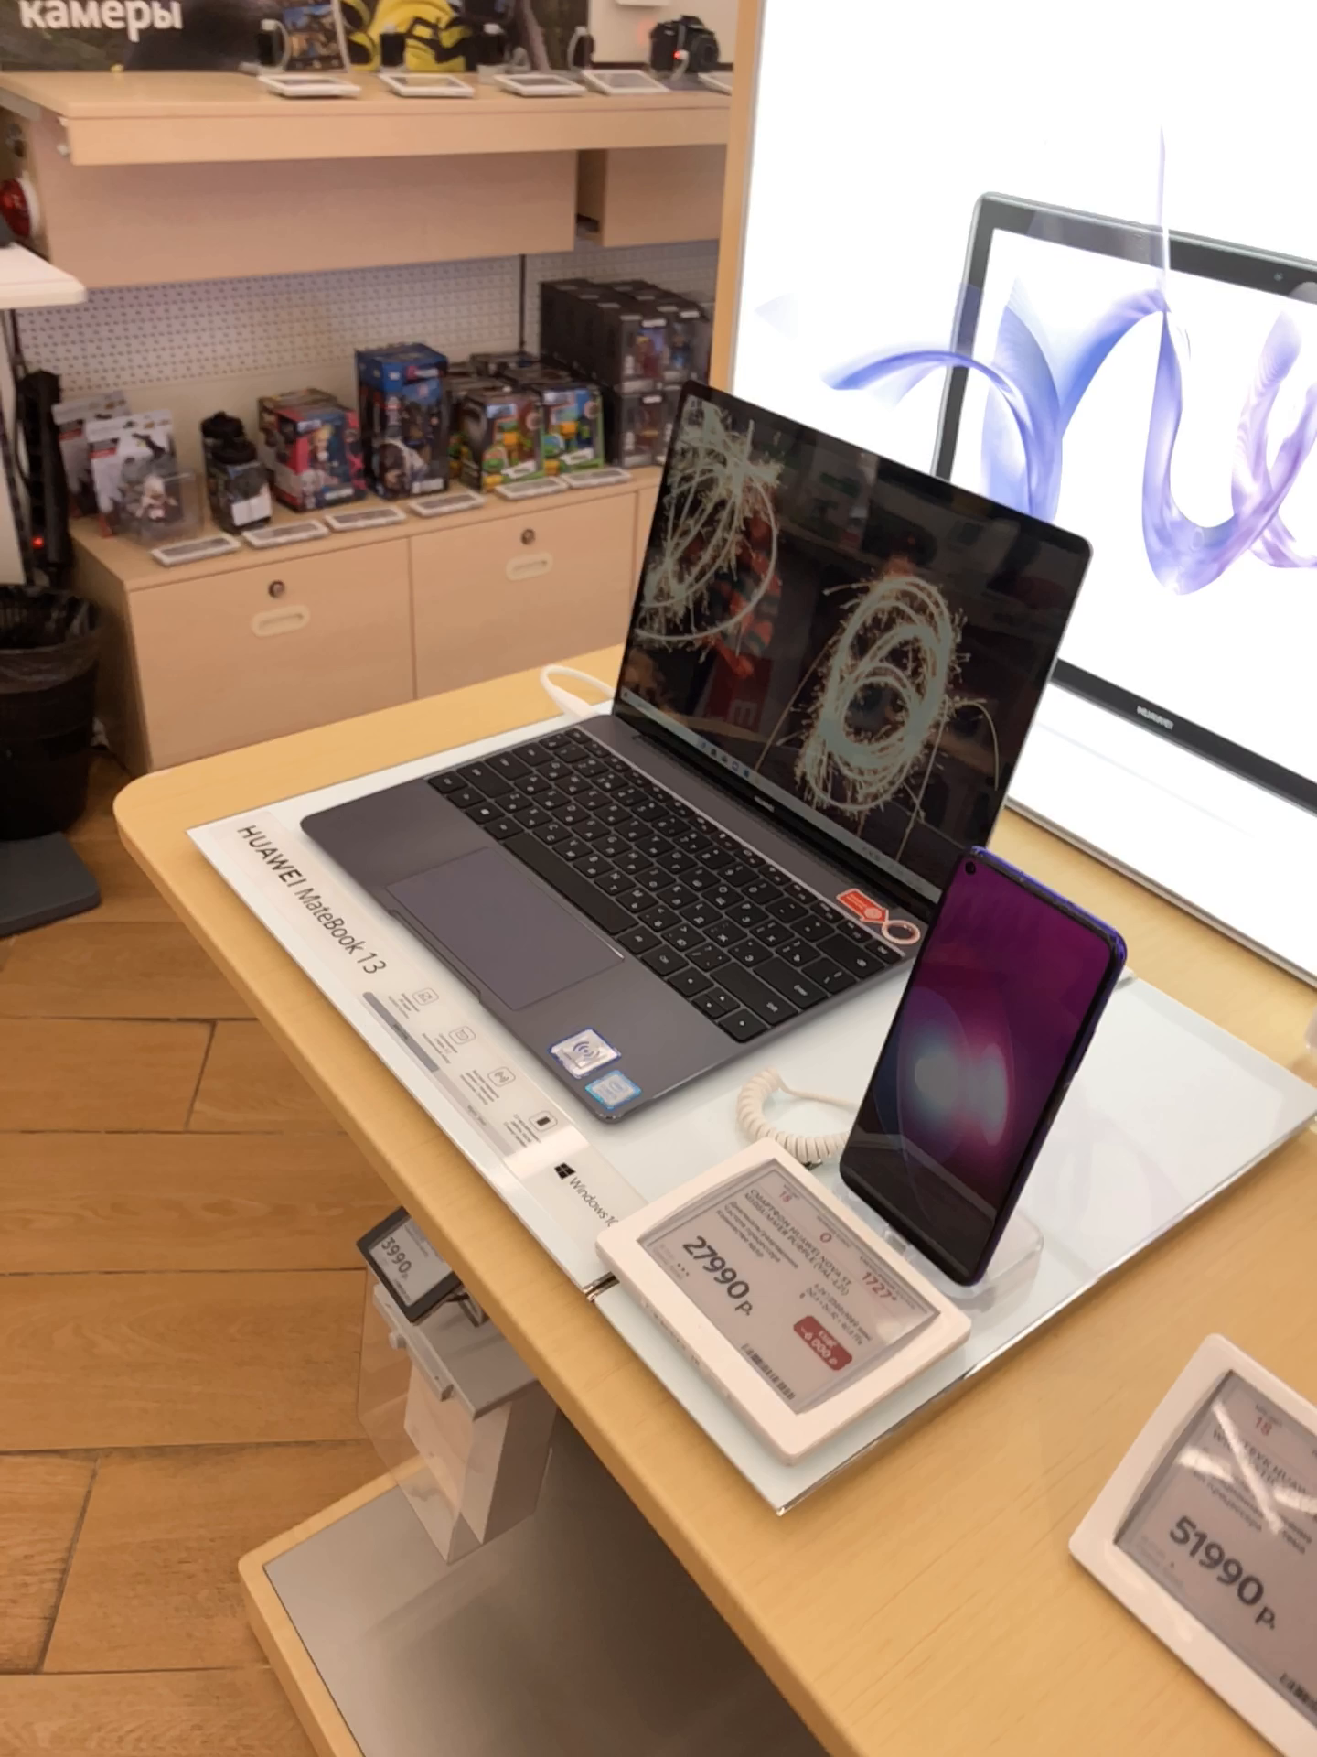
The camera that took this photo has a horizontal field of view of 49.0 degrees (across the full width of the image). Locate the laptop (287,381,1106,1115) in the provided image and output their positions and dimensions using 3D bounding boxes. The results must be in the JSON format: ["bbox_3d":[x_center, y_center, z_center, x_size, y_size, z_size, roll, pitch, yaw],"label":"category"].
[{"bbox_3d":[0.004,-0.087,0.700,0.244,0.192,0.275,-23,42,-31],"label":"laptop"}]
